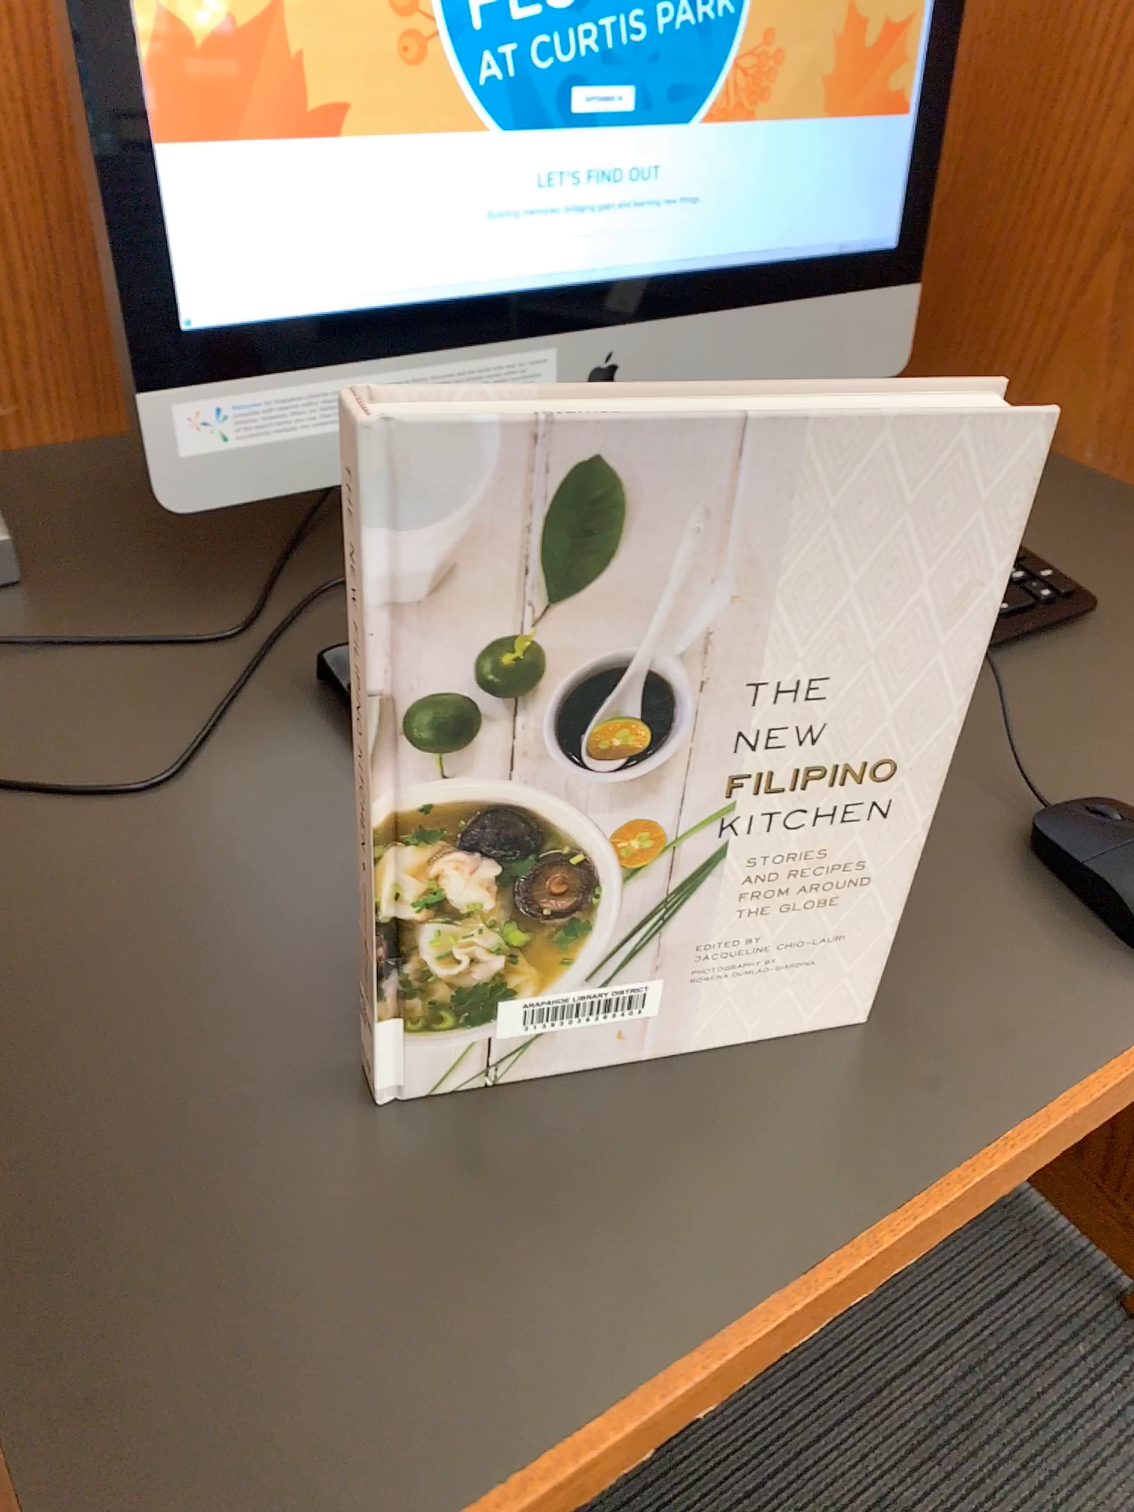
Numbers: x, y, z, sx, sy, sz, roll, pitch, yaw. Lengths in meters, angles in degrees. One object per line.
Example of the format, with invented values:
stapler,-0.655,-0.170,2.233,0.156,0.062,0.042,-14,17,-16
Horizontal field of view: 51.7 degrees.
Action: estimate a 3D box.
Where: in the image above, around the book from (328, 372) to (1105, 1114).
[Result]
book,0.033,0.006,0.352,0.193,0.229,0.030,-6,36,-14
